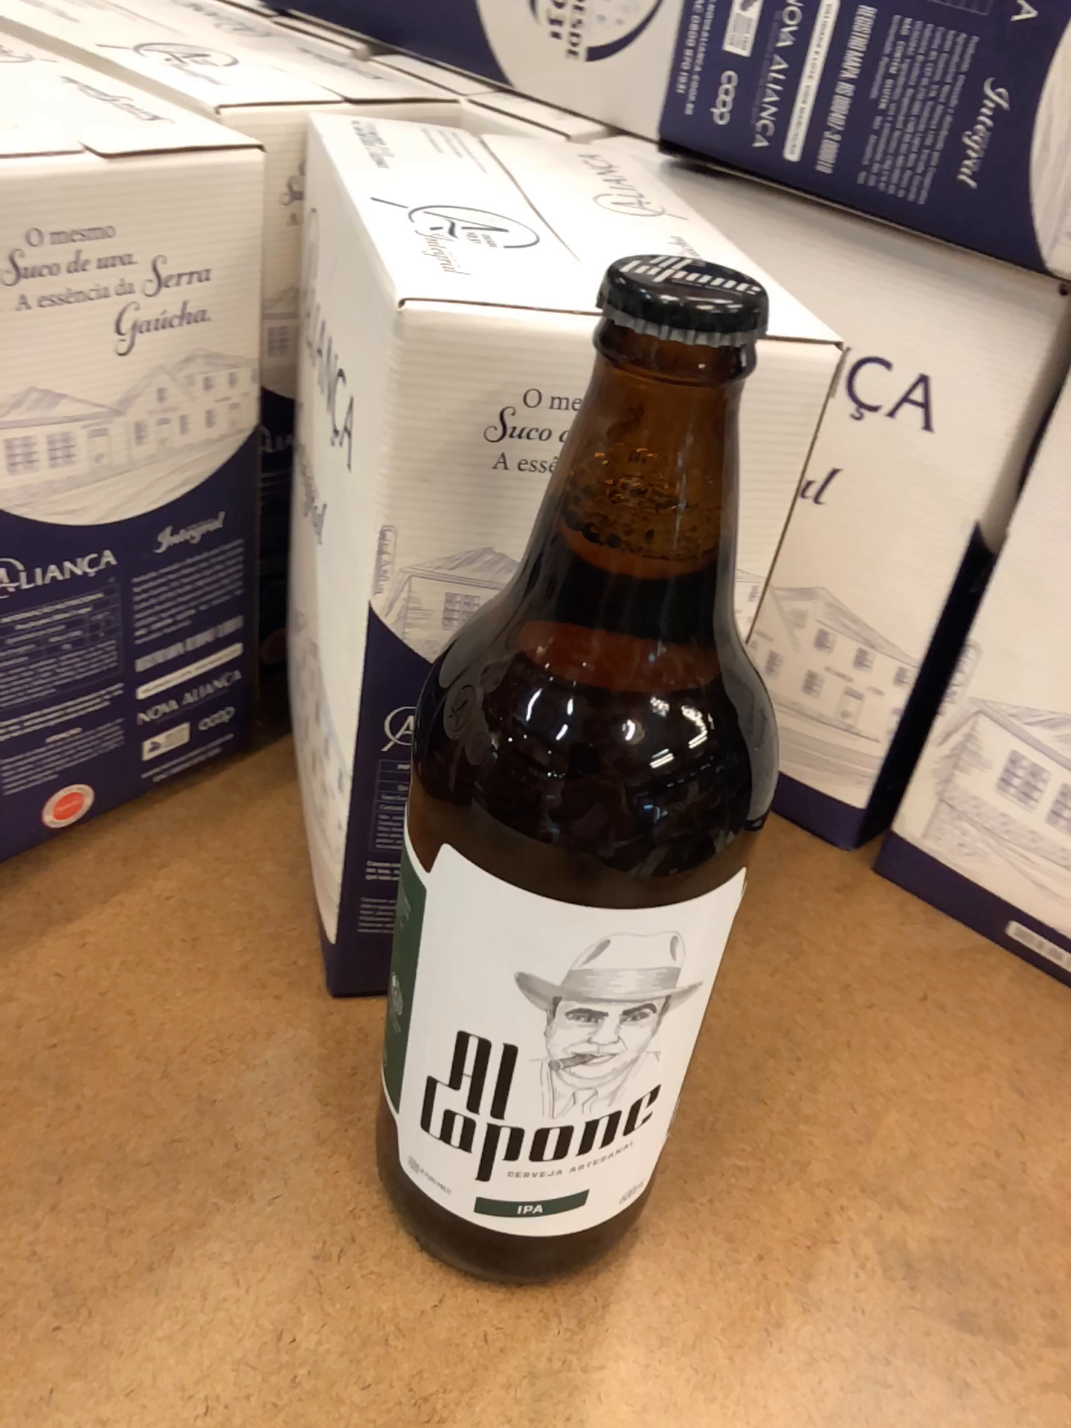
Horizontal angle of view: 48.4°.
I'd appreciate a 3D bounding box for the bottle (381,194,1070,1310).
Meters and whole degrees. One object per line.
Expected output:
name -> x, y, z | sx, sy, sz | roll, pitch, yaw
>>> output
bottle -> 0.019, 0.027, 0.246 | 0.080, 0.228, 0.071 | 6, 35, -6
